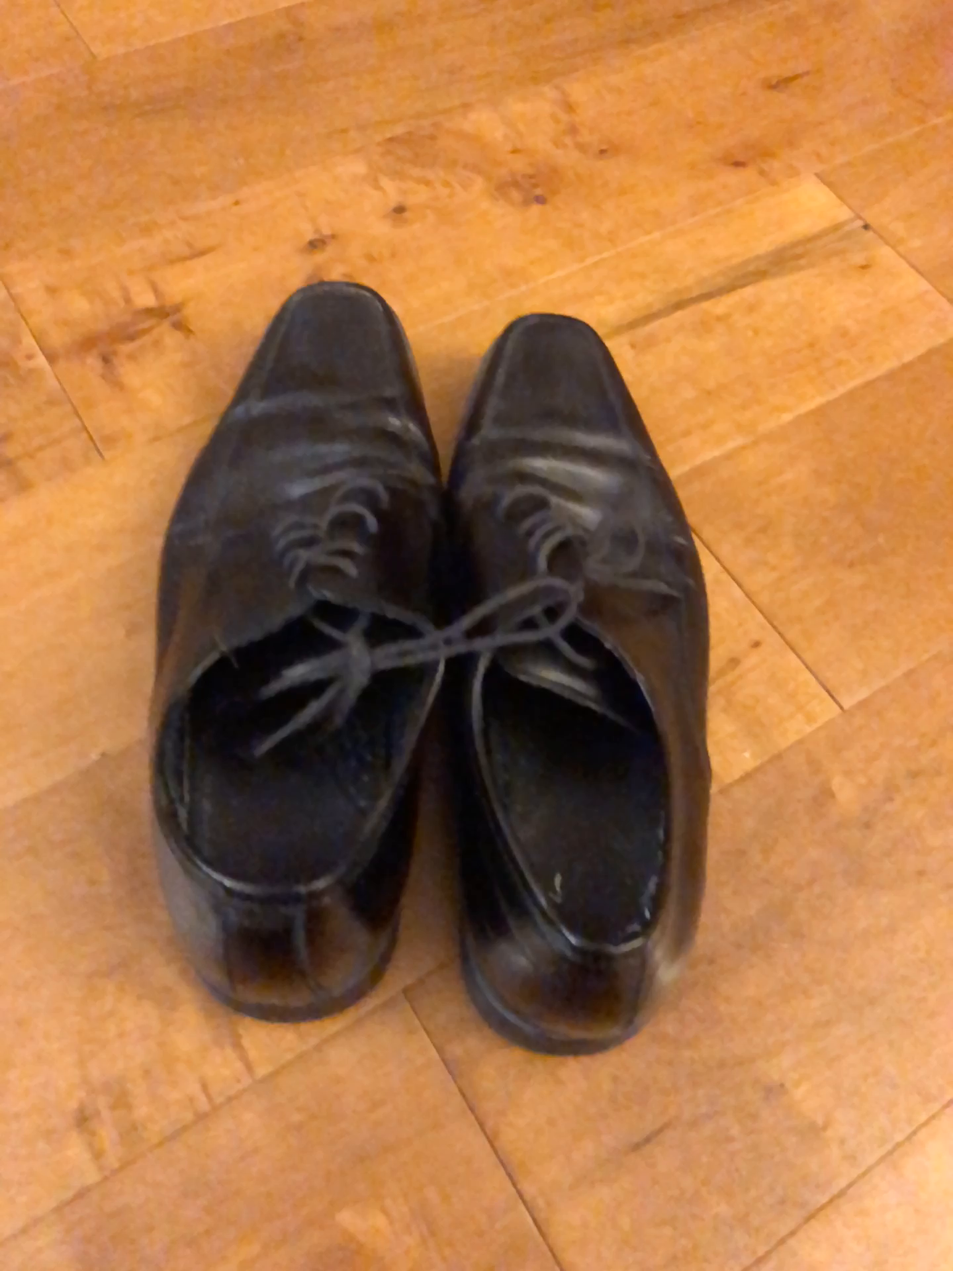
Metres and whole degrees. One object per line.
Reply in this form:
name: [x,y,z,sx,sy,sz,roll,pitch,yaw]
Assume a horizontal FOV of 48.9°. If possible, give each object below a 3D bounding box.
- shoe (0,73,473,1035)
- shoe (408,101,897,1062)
shoe: [-0.063,-0.036,0.368,0.110,0.129,0.311,3,61,-3]
shoe: [0.039,-0.026,0.369,0.110,0.129,0.311,3,61,-3]
